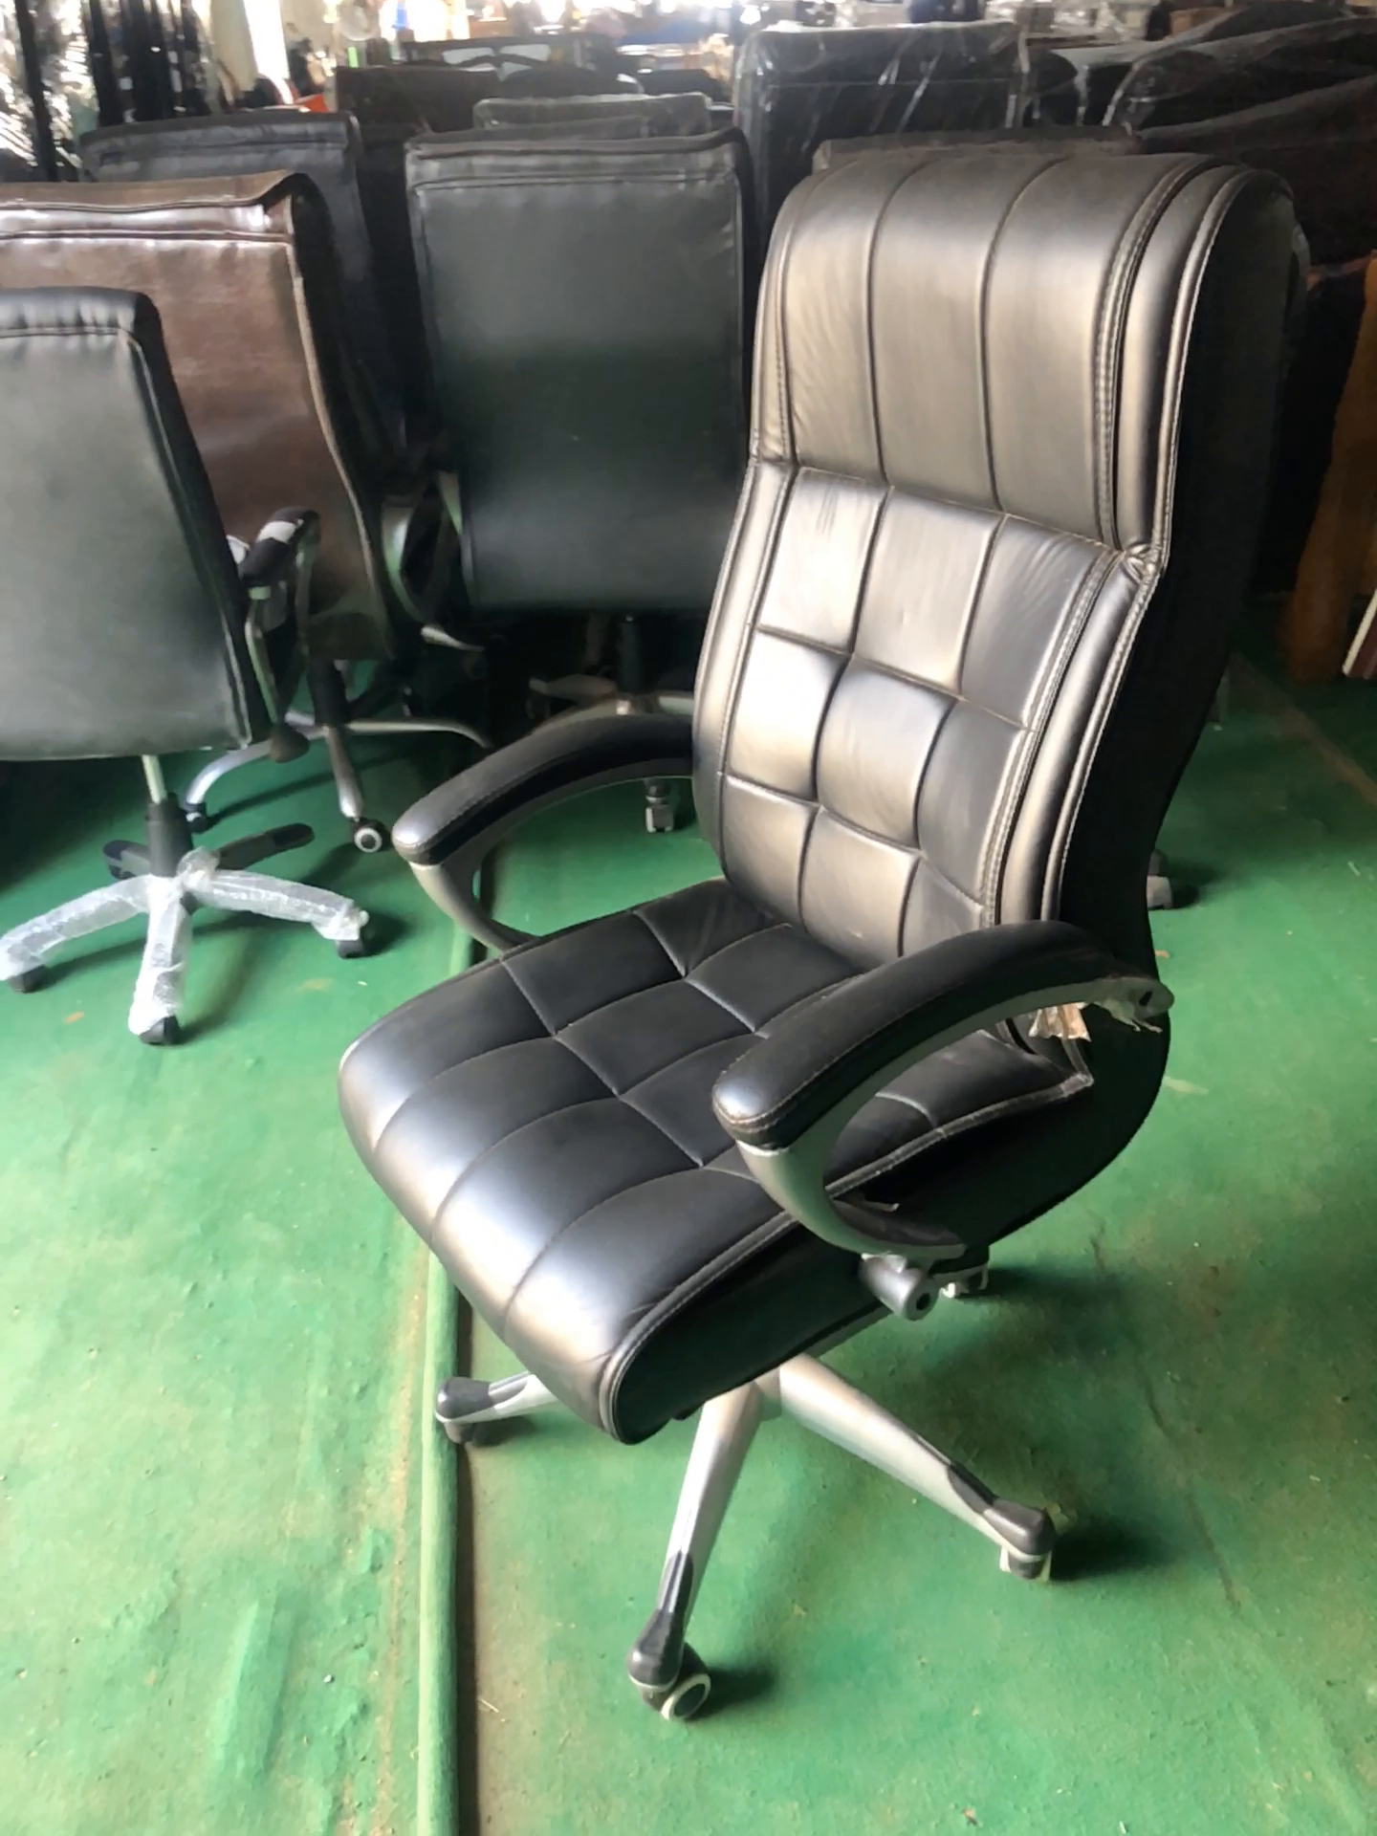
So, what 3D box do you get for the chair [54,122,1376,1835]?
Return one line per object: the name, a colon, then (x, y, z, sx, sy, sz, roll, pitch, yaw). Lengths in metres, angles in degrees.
chair: (0.105, -0.011, 1.409, 0.833, 1.224, 0.812, -23, 36, -30)
